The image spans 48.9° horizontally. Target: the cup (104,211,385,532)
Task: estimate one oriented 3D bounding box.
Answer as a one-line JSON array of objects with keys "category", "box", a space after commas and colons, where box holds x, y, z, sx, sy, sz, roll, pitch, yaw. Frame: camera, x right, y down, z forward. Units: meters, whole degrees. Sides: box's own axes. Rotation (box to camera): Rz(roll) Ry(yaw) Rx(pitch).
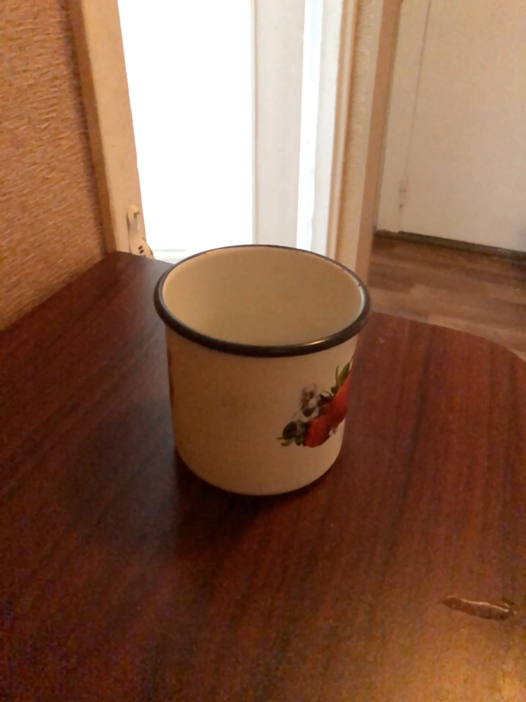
[{"category": "cup", "box": [0.001, 0.001, 0.364, 0.118, 0.113, 0.156, 10, 36, 14]}]
